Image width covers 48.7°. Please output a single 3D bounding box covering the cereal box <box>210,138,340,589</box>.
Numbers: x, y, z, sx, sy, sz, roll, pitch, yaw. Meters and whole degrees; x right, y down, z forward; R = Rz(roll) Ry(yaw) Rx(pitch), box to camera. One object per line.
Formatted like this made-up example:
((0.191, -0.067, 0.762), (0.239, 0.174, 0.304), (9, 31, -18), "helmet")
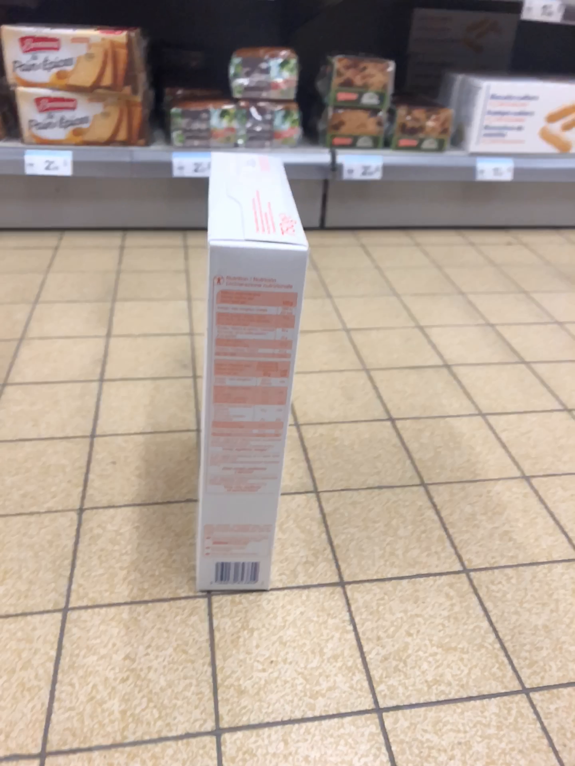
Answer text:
((-0.024, -0.019, 0.475), (0.060, 0.268, 0.201), (1, 32, -7), "cereal box")
